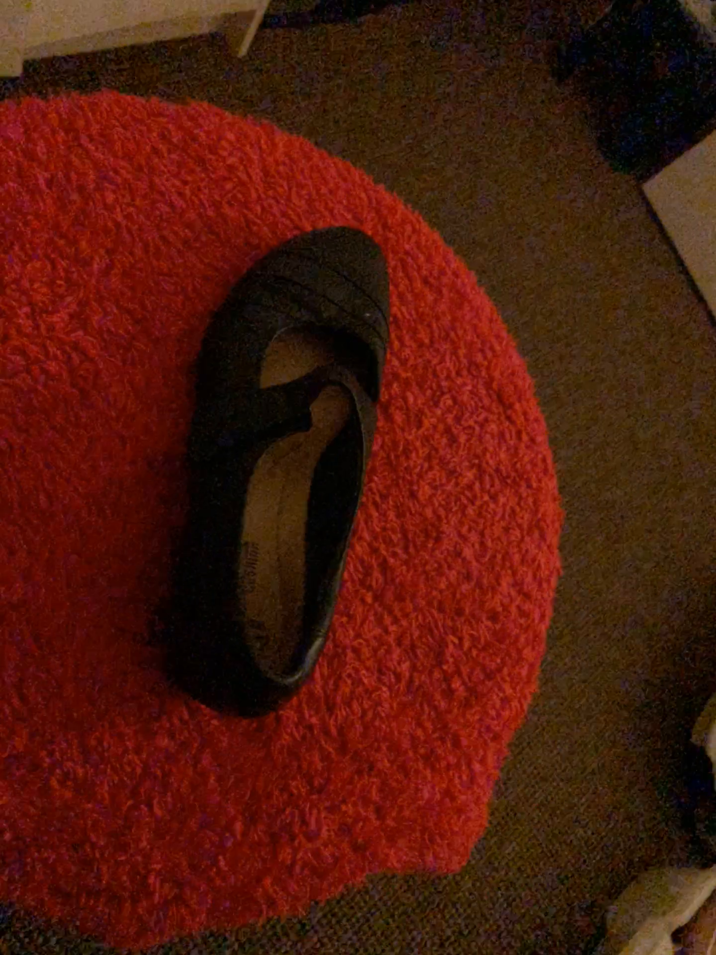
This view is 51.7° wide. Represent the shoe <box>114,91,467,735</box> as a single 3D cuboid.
[{"bbox_3d":[-0.024,-0.032,0.348,0.093,0.080,0.276,19,67,-22],"label":"shoe"}]
